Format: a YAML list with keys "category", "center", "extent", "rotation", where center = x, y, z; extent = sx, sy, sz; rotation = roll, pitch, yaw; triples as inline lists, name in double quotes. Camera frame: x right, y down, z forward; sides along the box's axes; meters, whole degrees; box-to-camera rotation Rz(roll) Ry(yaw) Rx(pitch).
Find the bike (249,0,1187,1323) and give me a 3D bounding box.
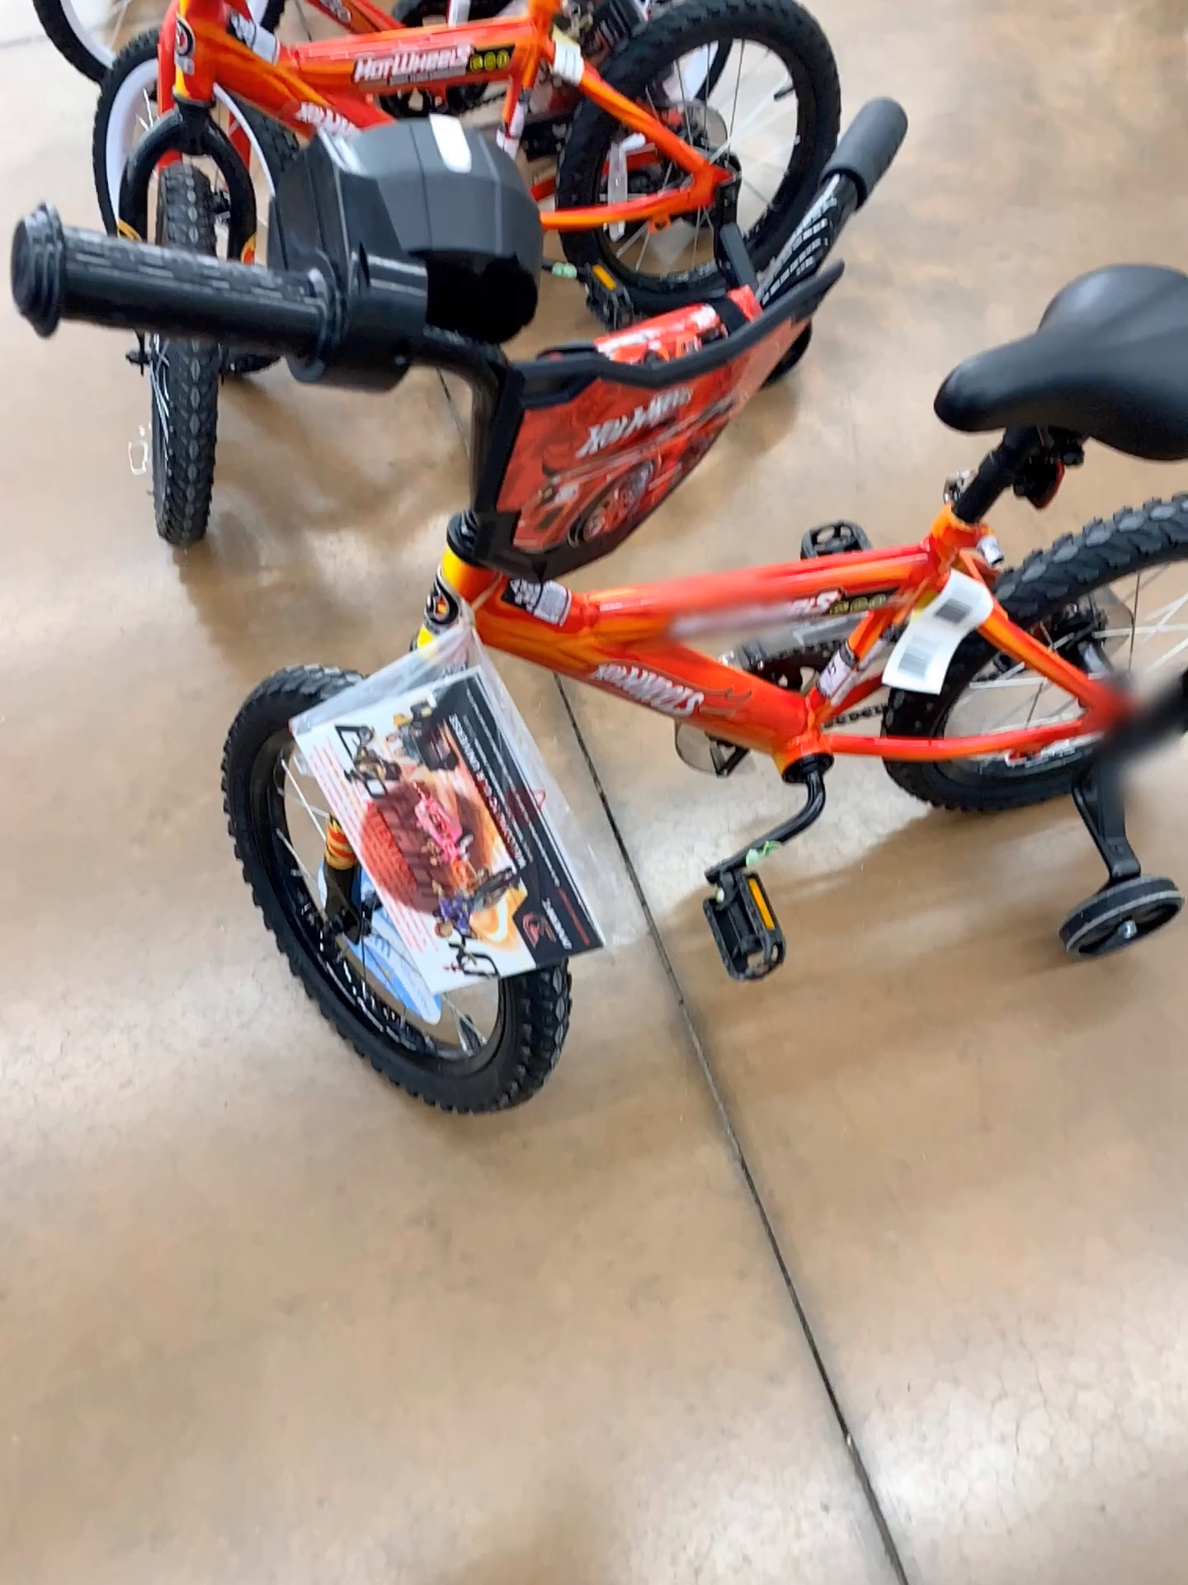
- category: "bike"
  center: [0.227, -0.113, 0.952]
  extent: [0.740, 0.825, 0.511]
  rotation: [-27, 60, -9]
